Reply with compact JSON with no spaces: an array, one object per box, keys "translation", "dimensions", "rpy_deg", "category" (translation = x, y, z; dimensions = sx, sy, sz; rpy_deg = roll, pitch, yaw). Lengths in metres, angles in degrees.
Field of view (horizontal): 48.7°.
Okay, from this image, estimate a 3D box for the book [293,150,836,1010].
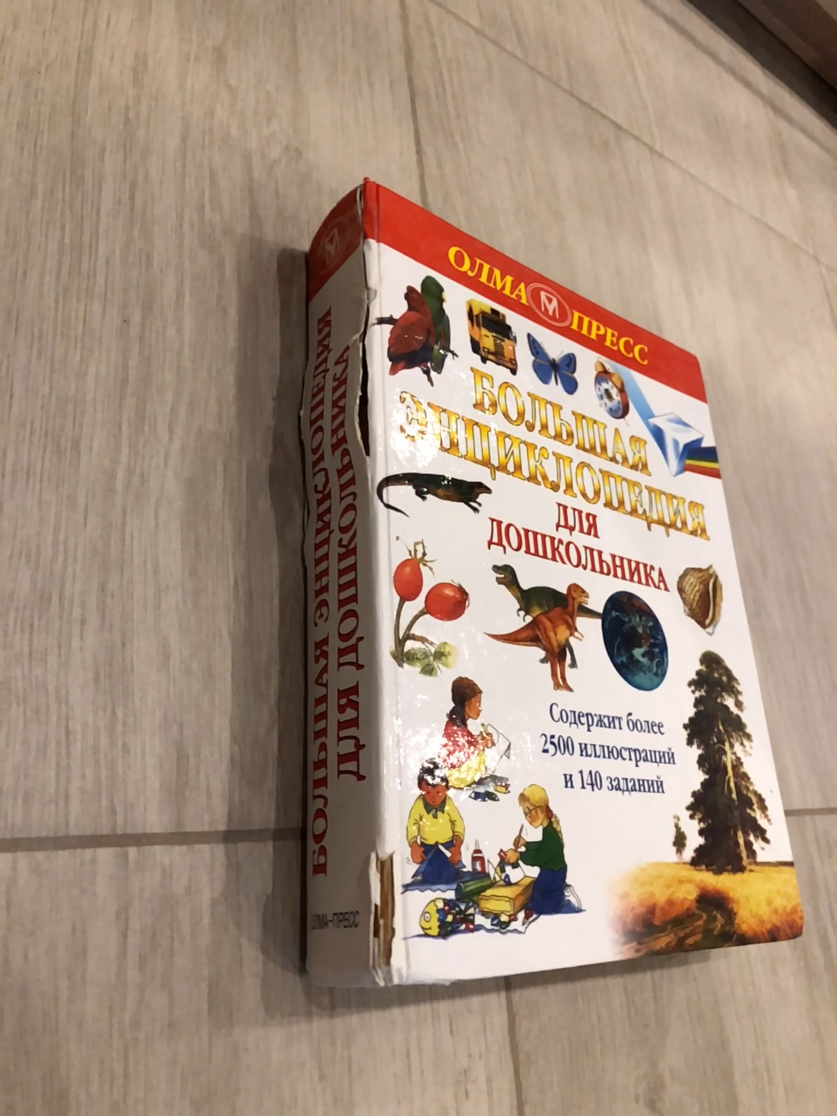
[{"translation":[0.060,0.013,0.369],"dimensions":[0.217,0.060,0.281],"rpy_deg":[15,62,-37],"category":"book"}]
